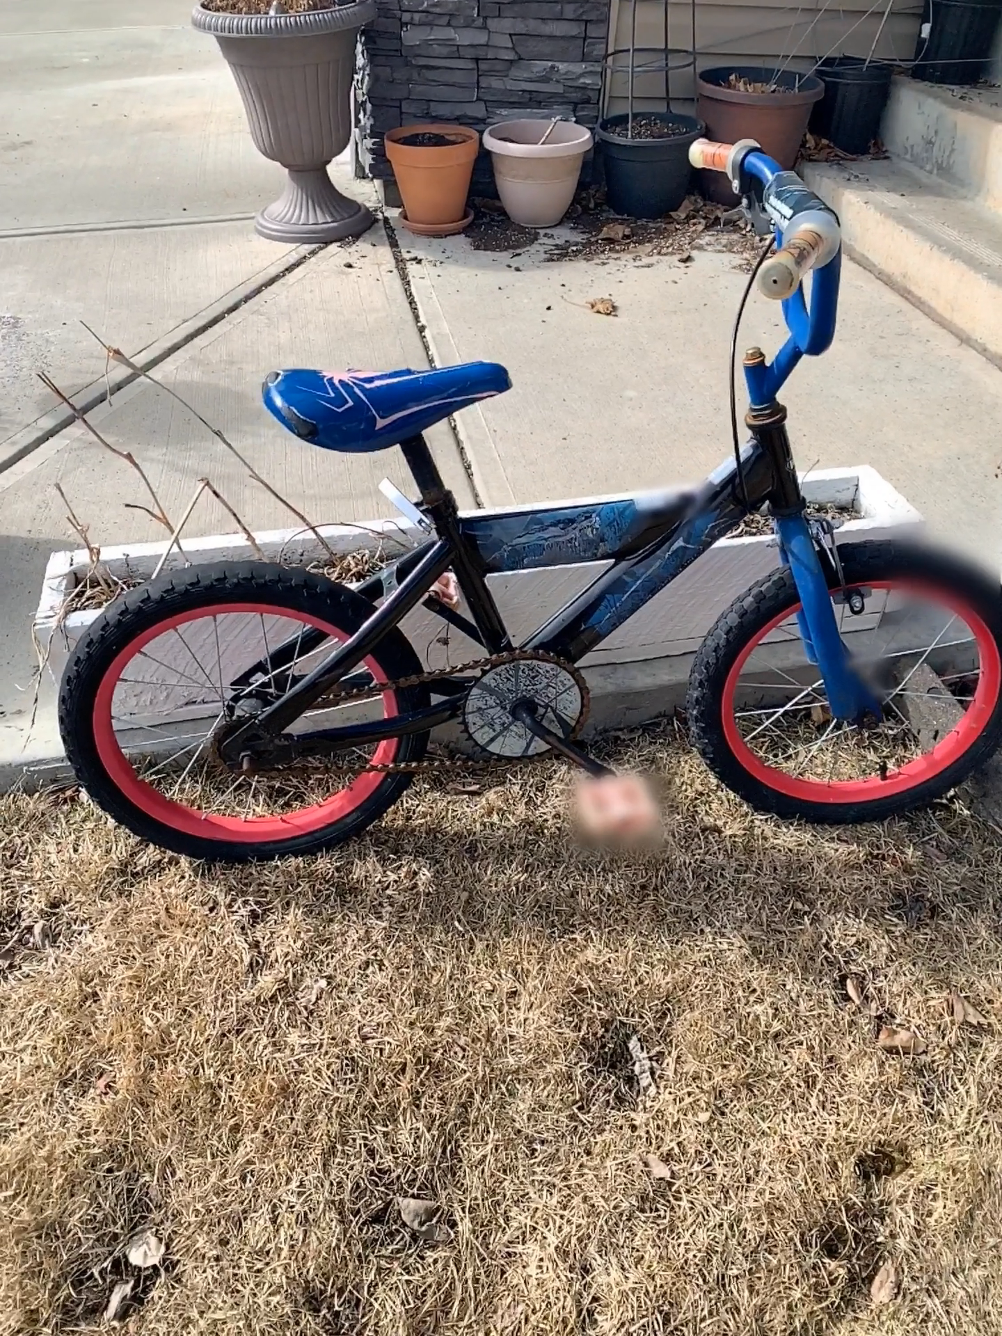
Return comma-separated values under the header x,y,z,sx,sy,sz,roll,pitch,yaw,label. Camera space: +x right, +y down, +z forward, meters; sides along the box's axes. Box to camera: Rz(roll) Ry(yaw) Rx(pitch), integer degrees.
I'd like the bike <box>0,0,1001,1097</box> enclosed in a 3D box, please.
x,y,z,sx,sy,sz,roll,pitch,yaw,label
0.072,-0.097,0.918,1.023,0.728,0.538,-4,39,-1,bike
